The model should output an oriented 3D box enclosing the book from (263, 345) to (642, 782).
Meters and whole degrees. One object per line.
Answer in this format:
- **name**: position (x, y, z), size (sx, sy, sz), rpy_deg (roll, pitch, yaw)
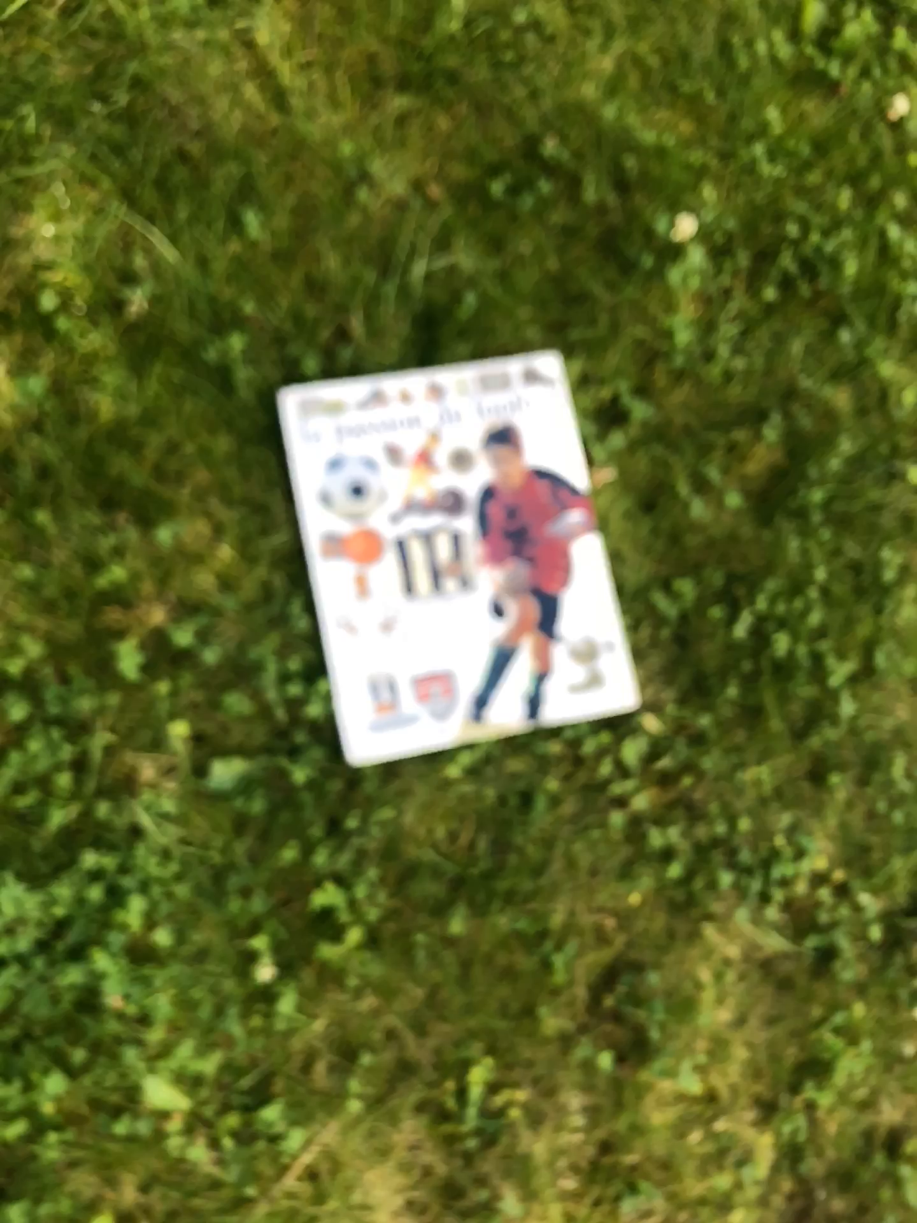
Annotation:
- **book**: position (-0.006, -0.043, 0.793), size (0.230, 0.020, 0.300), rpy_deg (-11, 82, -11)
